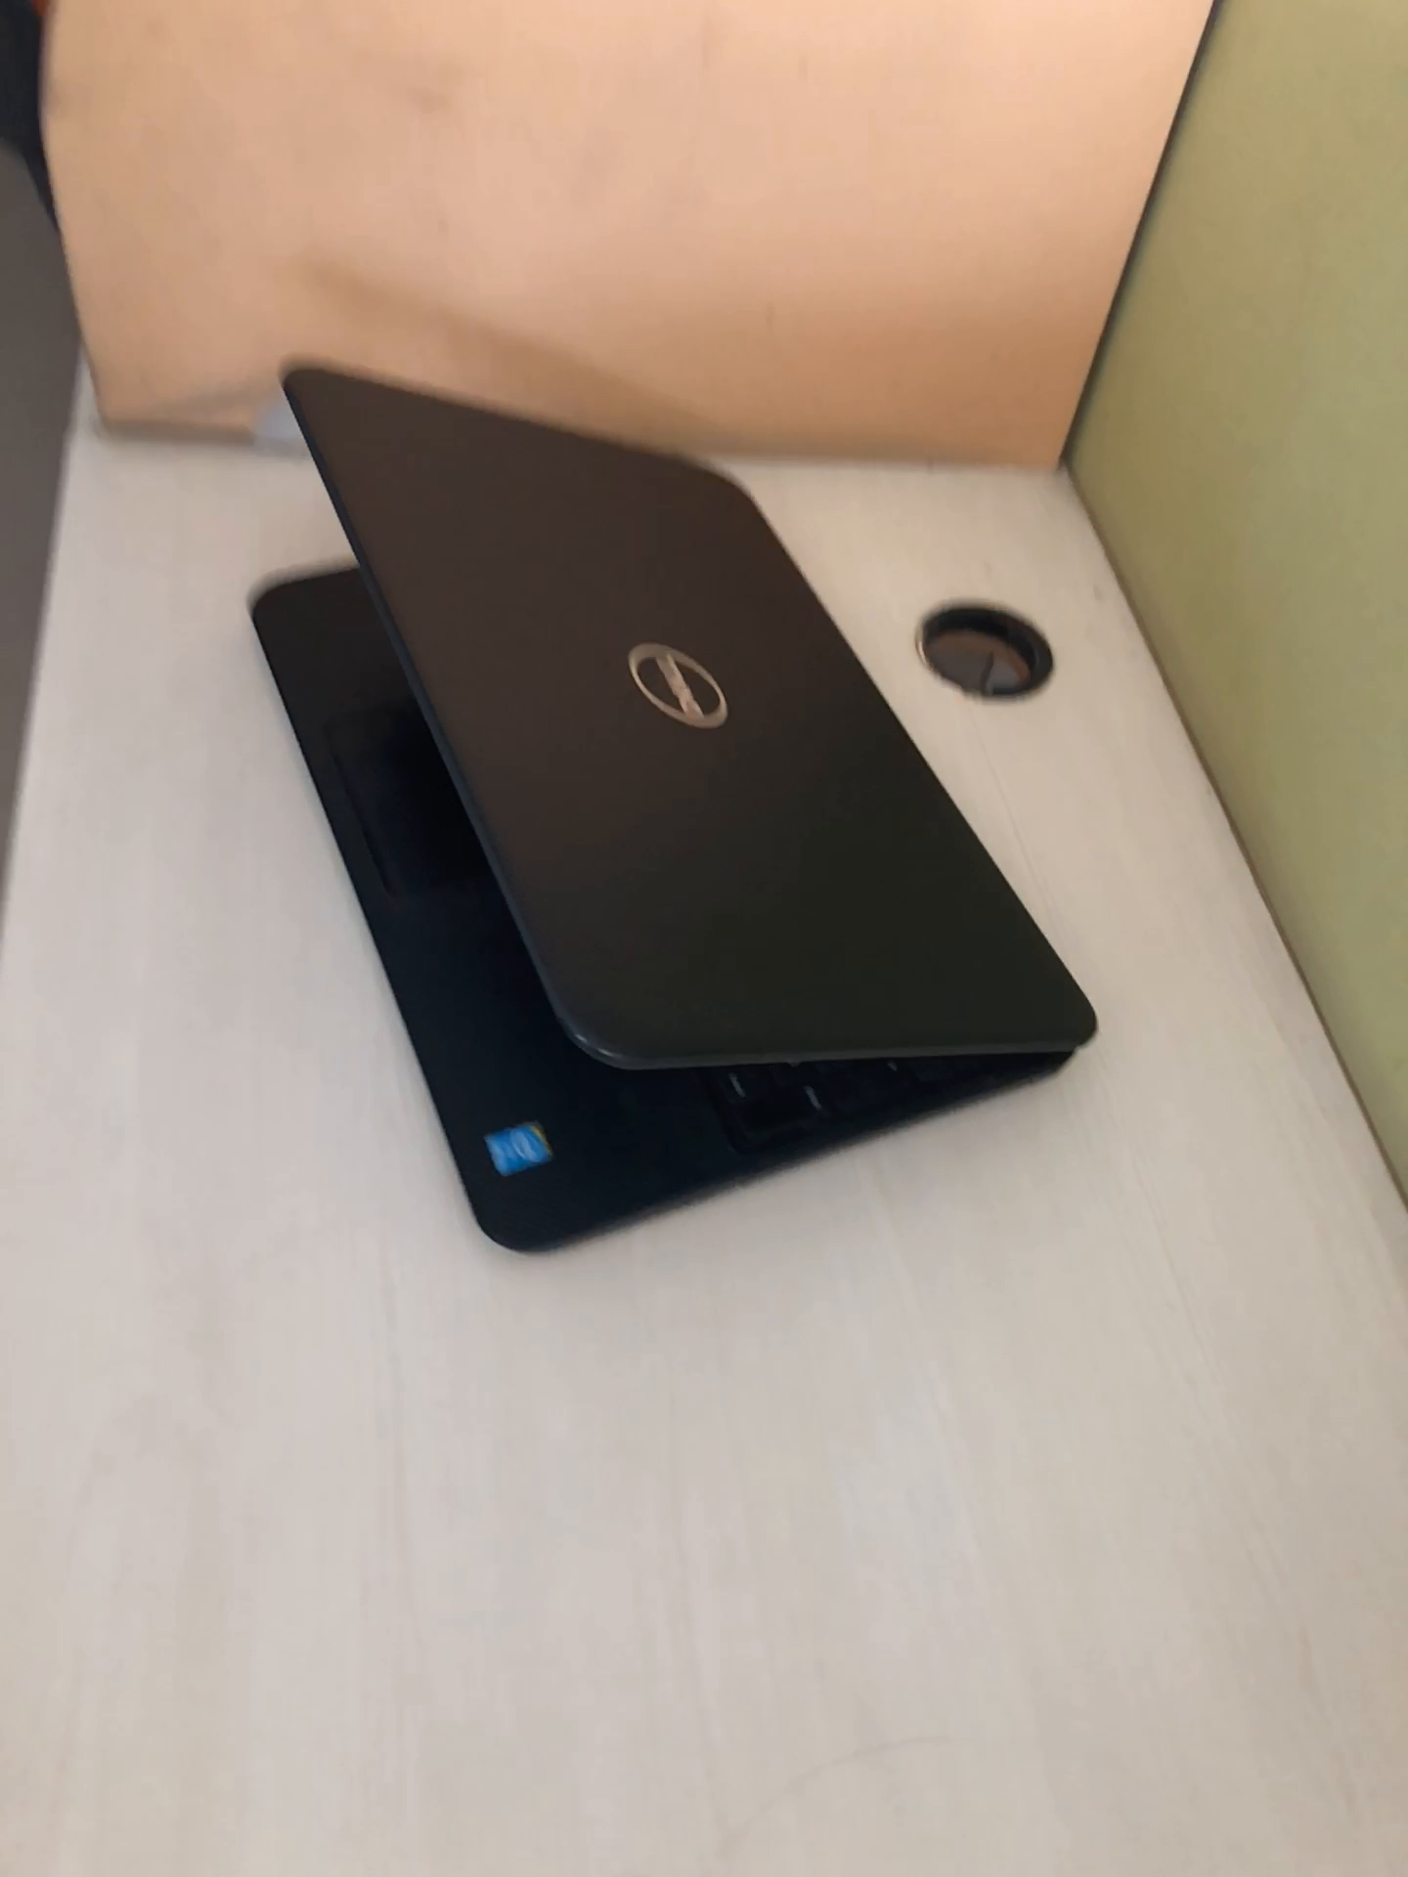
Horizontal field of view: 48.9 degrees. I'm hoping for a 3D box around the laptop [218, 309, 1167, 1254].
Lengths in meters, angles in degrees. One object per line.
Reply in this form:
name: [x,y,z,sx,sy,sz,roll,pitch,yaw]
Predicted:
laptop: [-0.029,-0.092,0.643,0.247,0.106,0.368,-16,57,-17]
